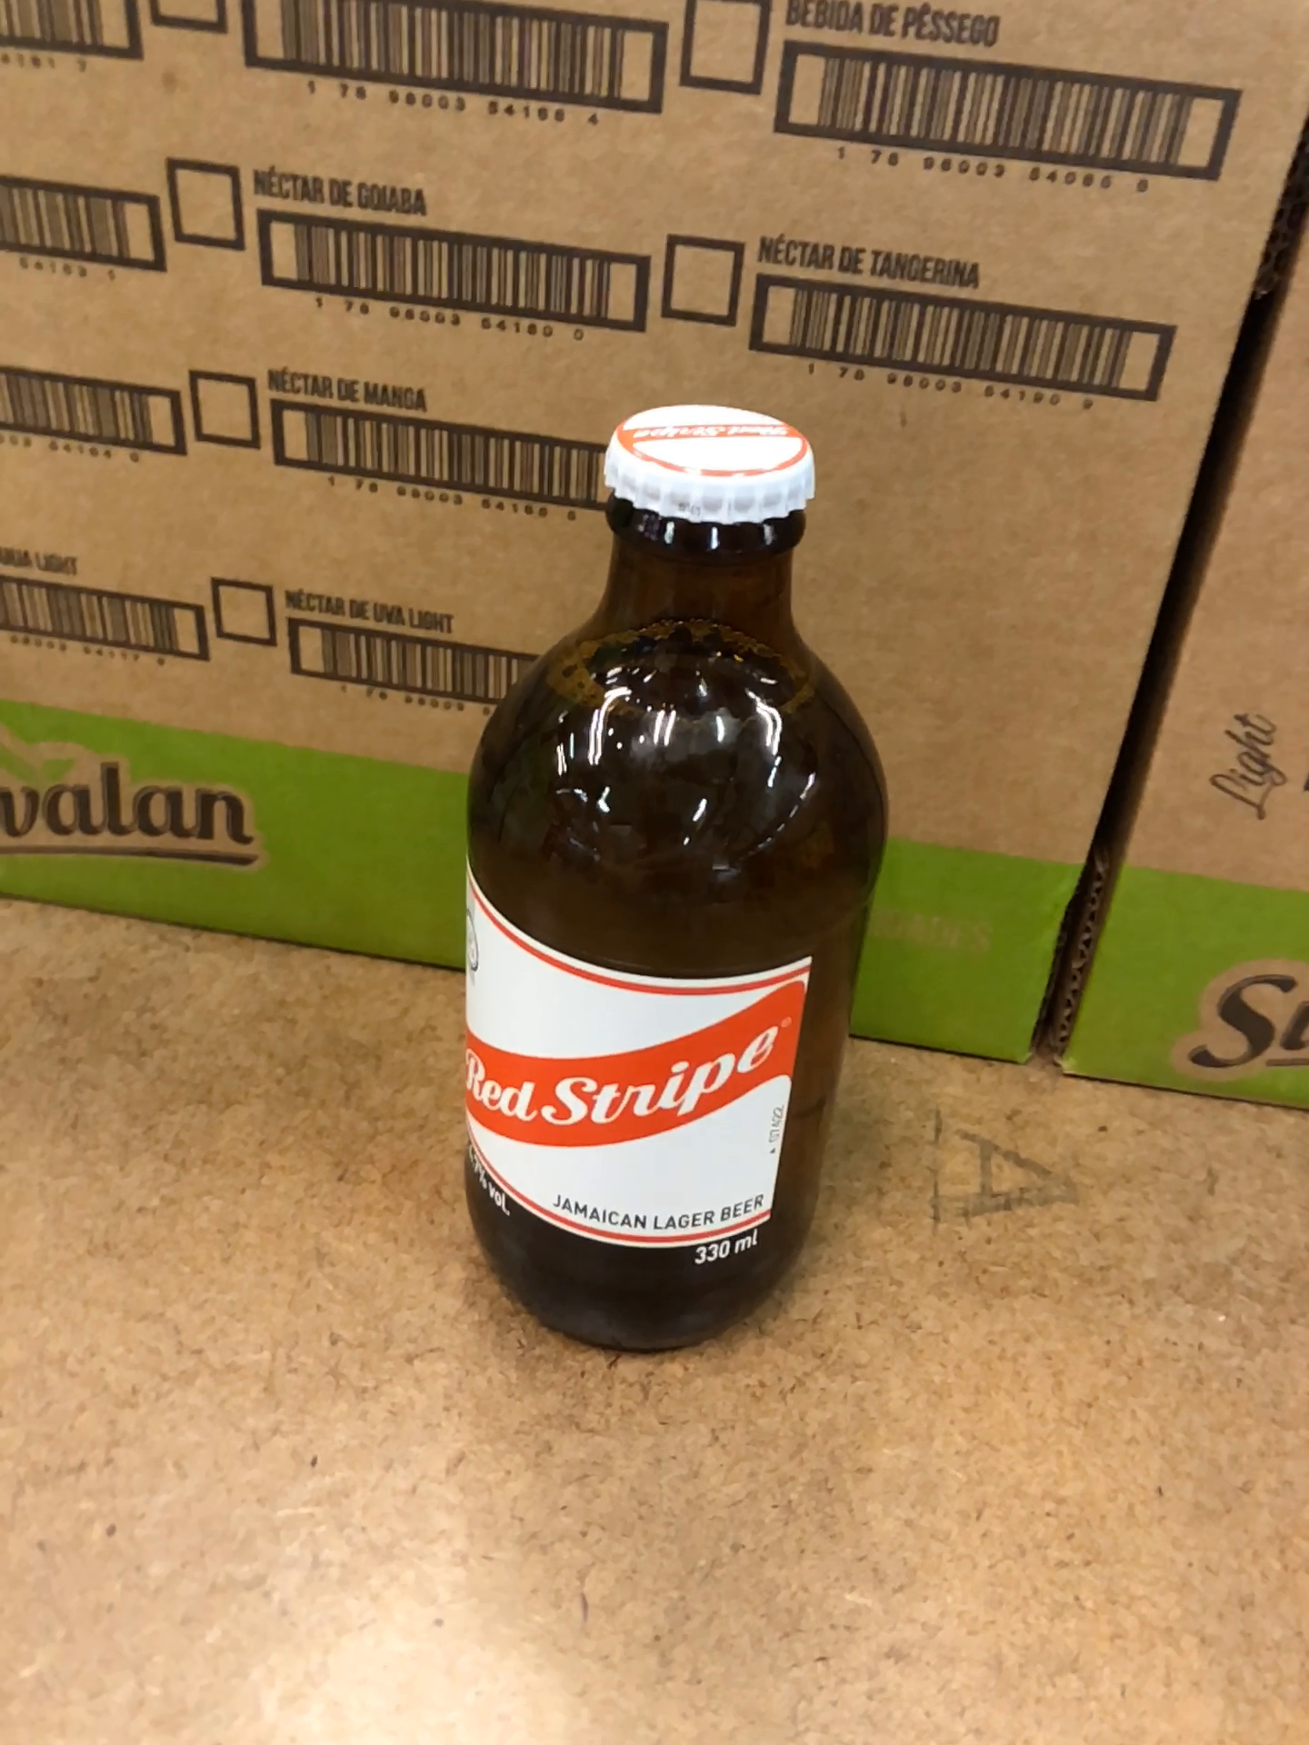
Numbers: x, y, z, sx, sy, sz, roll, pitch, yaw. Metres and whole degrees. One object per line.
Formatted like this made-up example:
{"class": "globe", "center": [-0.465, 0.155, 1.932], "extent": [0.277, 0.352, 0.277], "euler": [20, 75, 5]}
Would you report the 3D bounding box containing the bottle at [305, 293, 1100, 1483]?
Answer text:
{"class": "bottle", "center": [0.004, 0.005, 0.232], "extent": [0.080, 0.159, 0.070], "euler": [18, 37, 19]}
